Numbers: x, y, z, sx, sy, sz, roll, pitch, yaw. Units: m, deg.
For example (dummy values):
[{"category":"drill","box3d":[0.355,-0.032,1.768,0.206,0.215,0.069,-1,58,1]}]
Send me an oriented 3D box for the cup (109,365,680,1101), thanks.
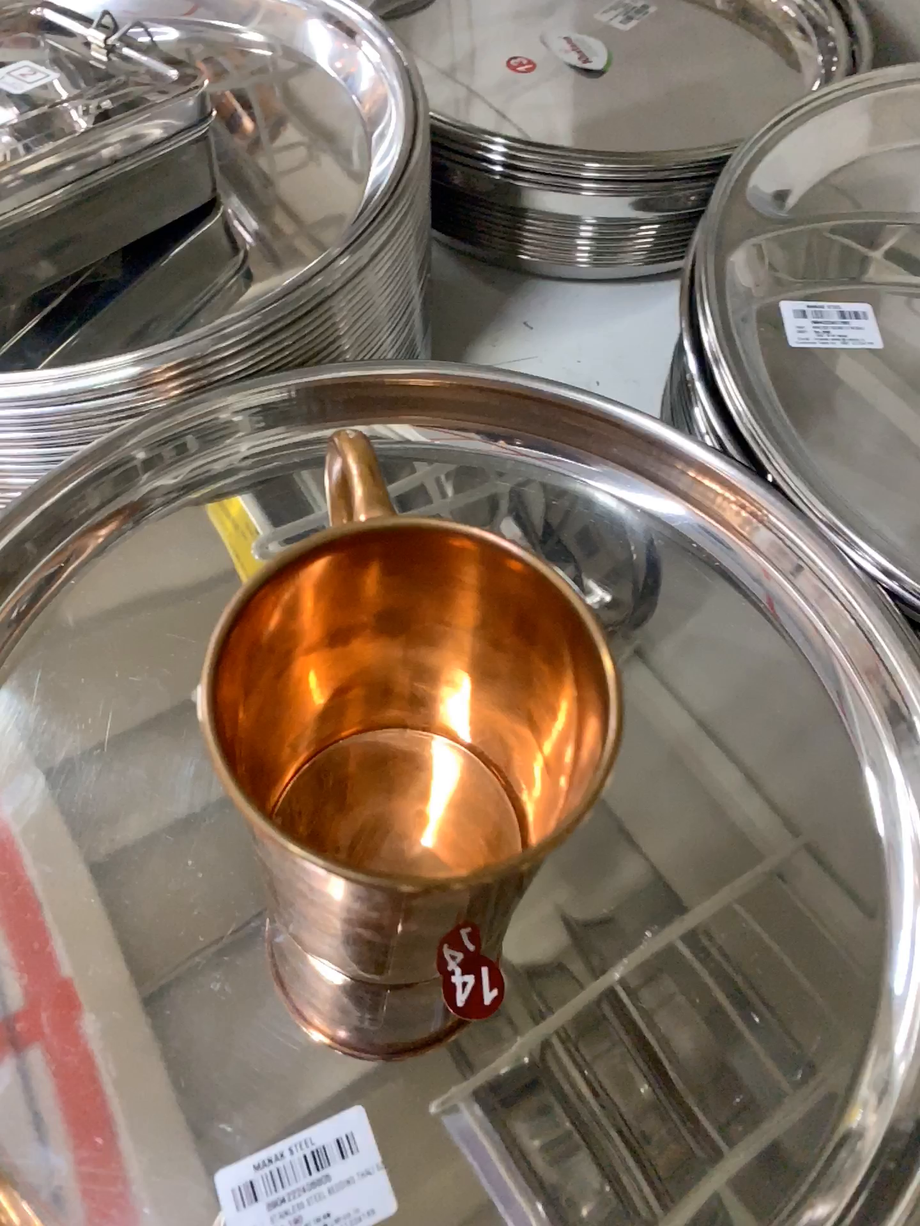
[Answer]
[{"category":"cup","box3d":[-0.022,0.035,0.237,0.080,0.120,0.130,-15,60,-10]}]
